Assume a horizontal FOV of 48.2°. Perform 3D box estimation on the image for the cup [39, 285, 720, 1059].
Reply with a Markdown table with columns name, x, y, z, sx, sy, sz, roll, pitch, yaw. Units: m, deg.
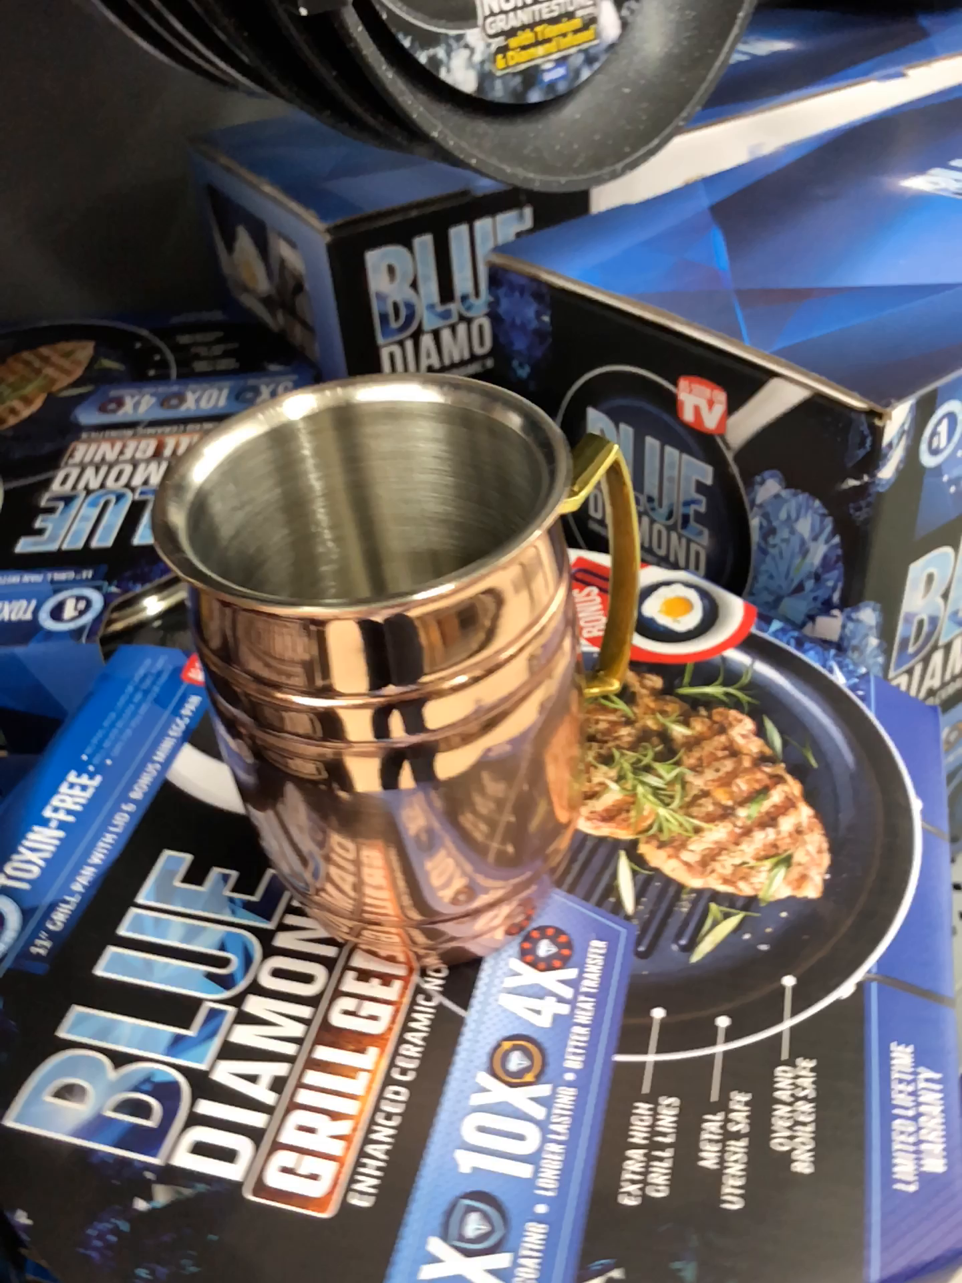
| name | x | y | z | sx | sy | sz | roll | pitch | yaw |
| --- | --- | --- | --- | --- | --- | --- | --- | --- | --- |
| cup | -0.012 | 0.001 | 0.273 | 0.086 | 0.126 | 0.127 | 23 | 48 | 29 |
